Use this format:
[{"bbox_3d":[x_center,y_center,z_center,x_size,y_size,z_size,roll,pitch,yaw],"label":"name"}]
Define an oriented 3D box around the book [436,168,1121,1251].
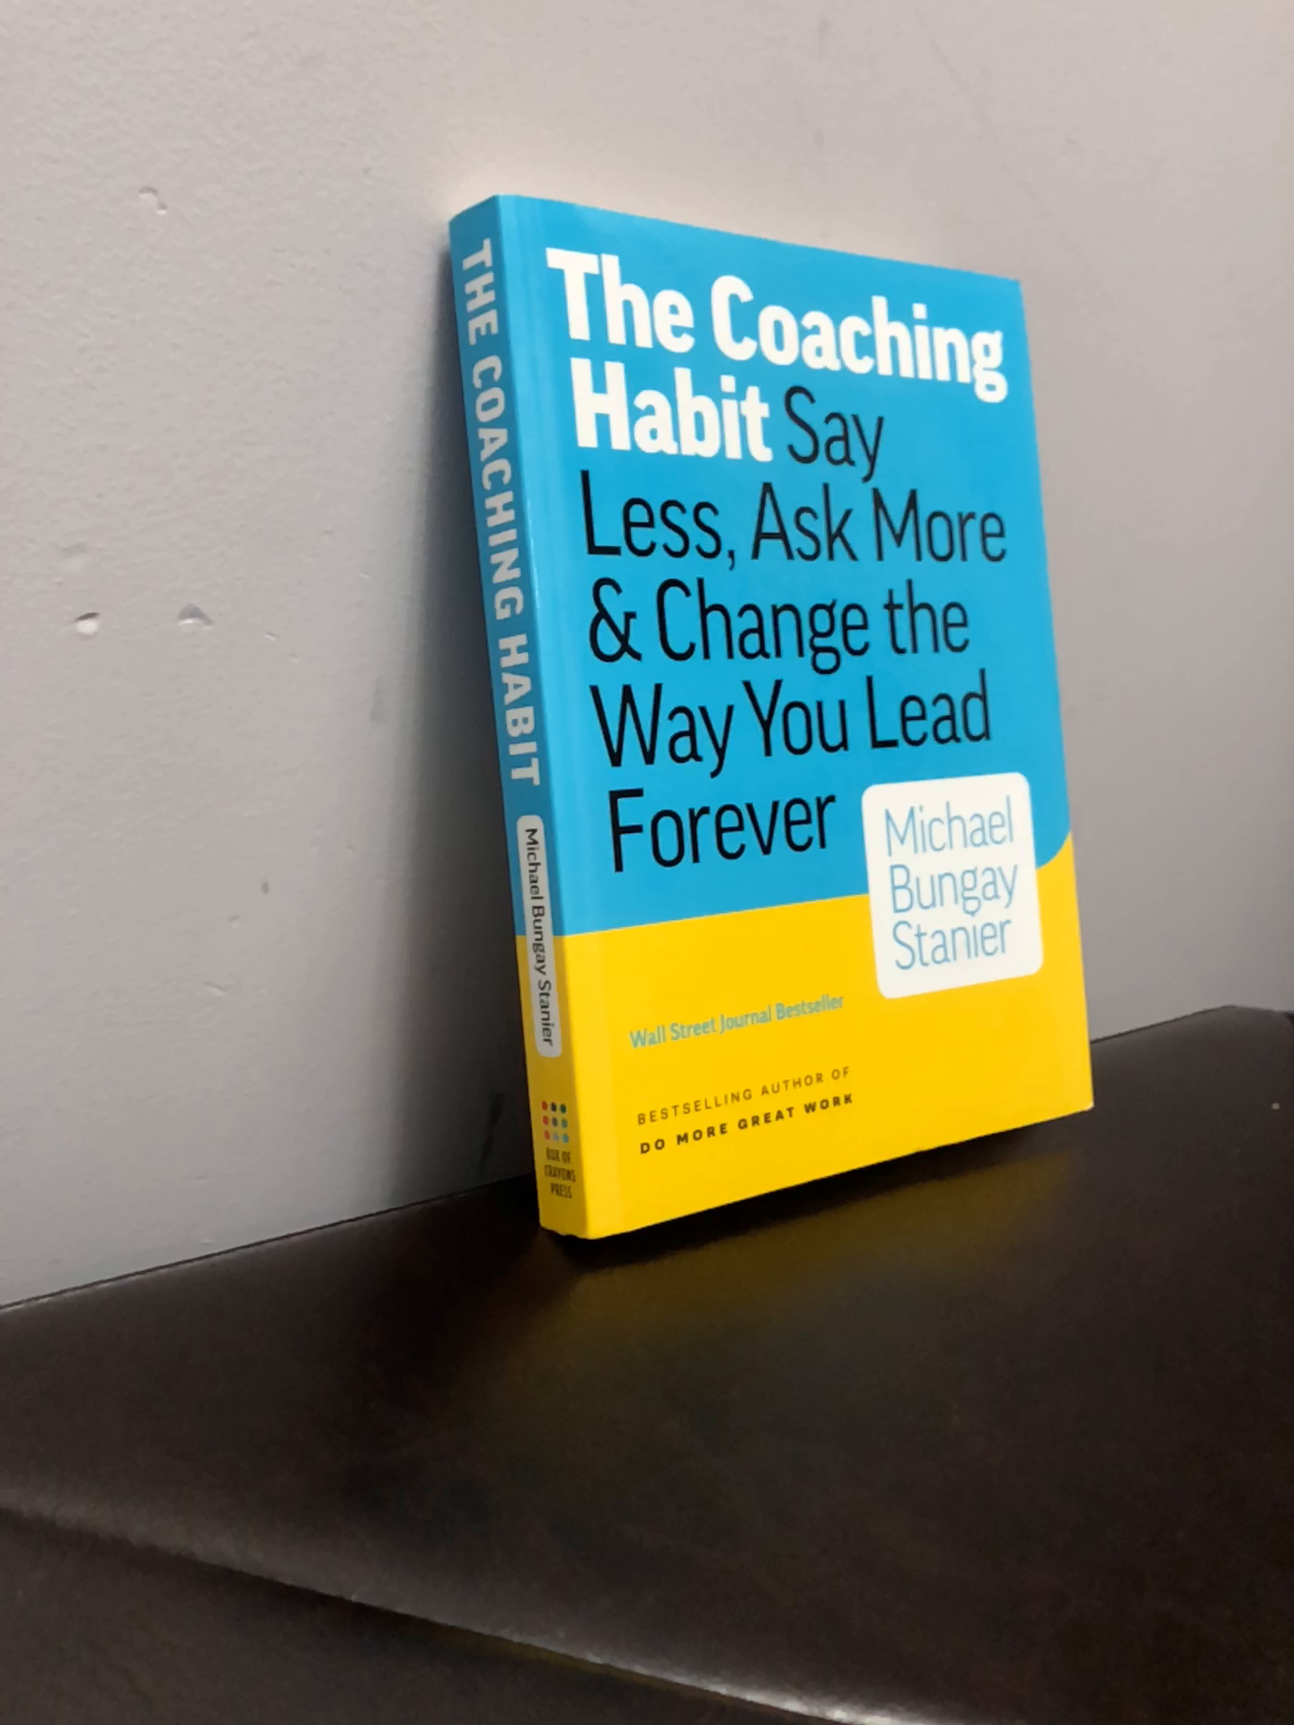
[{"bbox_3d":[0.035,-0.032,0.313,0.145,0.196,0.030,-4,-1,-34],"label":"book"}]
